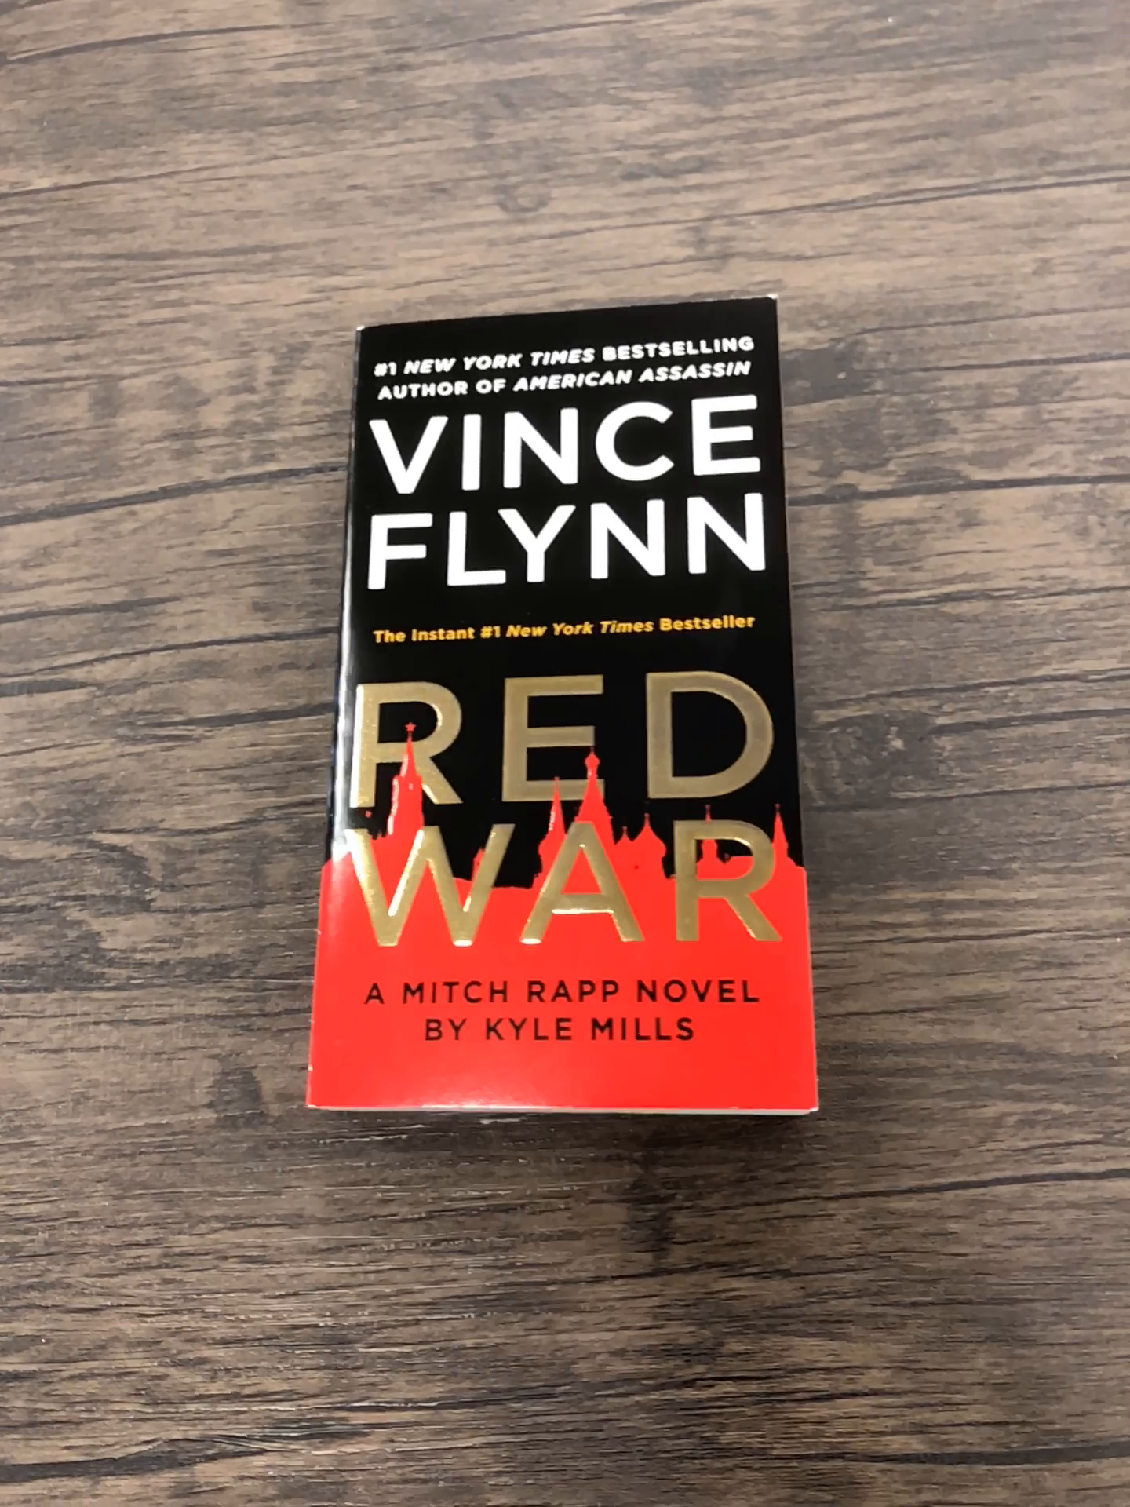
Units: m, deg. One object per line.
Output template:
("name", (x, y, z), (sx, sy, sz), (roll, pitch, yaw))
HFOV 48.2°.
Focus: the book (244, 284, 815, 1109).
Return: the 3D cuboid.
("book", (-0.007, -0.016, 0.285), (0.110, 0.030, 0.183), (-2, 71, 6))
